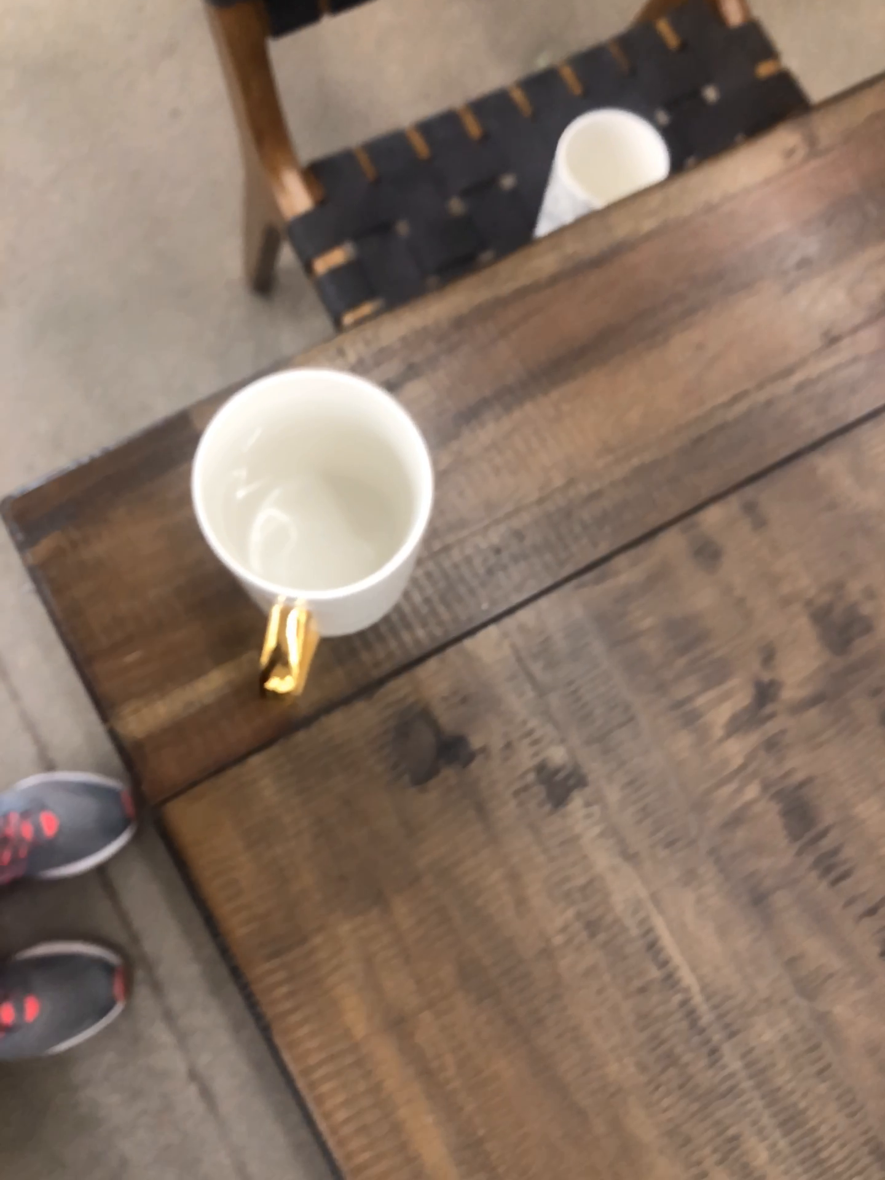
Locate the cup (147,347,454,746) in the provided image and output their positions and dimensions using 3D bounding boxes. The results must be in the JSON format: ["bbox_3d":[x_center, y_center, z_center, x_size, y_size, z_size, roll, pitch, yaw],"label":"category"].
[{"bbox_3d":[-0.049,-0.007,0.380,0.082,0.111,0.121,8,80,-3],"label":"cup"}]
